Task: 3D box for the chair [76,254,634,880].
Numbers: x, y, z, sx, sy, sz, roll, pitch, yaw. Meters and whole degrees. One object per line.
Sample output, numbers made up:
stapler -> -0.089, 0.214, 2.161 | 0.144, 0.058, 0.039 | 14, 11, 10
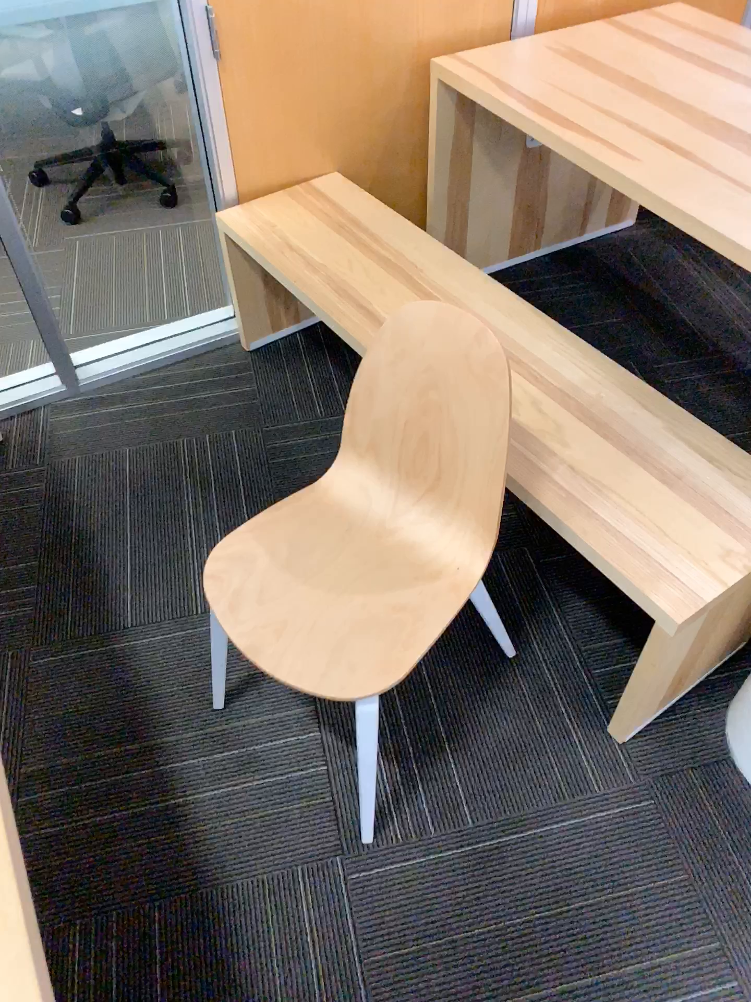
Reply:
chair -> -0.011, 0.138, 1.414 | 0.542, 0.835, 0.601 | 33, 57, 27
